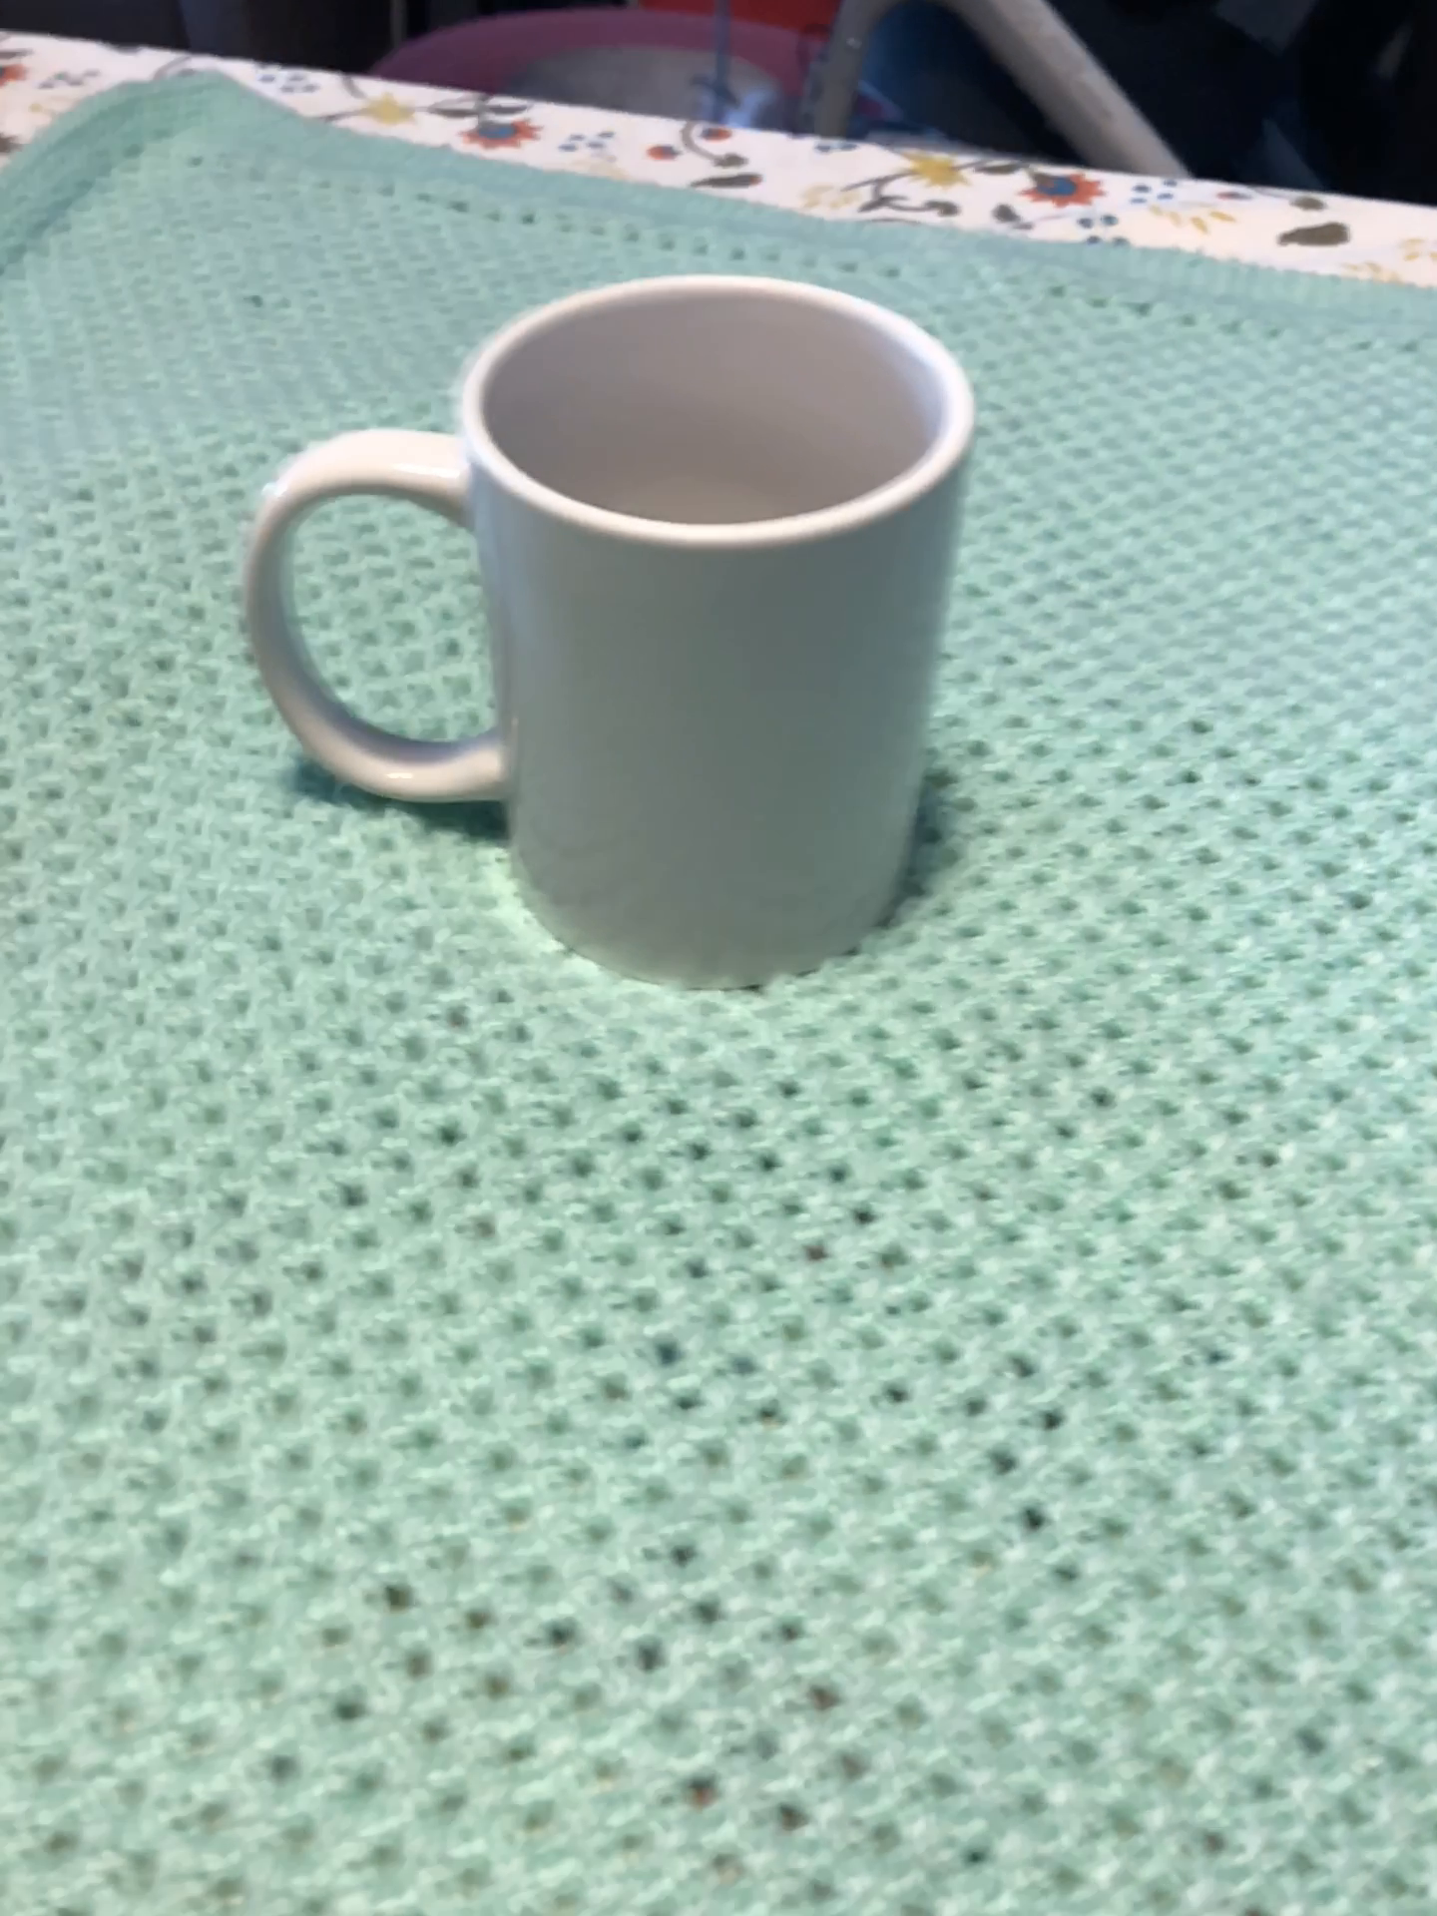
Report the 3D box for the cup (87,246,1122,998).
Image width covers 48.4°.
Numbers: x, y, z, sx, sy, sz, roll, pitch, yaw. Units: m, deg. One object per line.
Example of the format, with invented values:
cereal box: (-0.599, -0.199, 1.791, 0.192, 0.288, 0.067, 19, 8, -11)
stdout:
cup: (-0.015, -0.060, 0.280, 0.140, 0.079, 0.101, 2, 47, 0)
